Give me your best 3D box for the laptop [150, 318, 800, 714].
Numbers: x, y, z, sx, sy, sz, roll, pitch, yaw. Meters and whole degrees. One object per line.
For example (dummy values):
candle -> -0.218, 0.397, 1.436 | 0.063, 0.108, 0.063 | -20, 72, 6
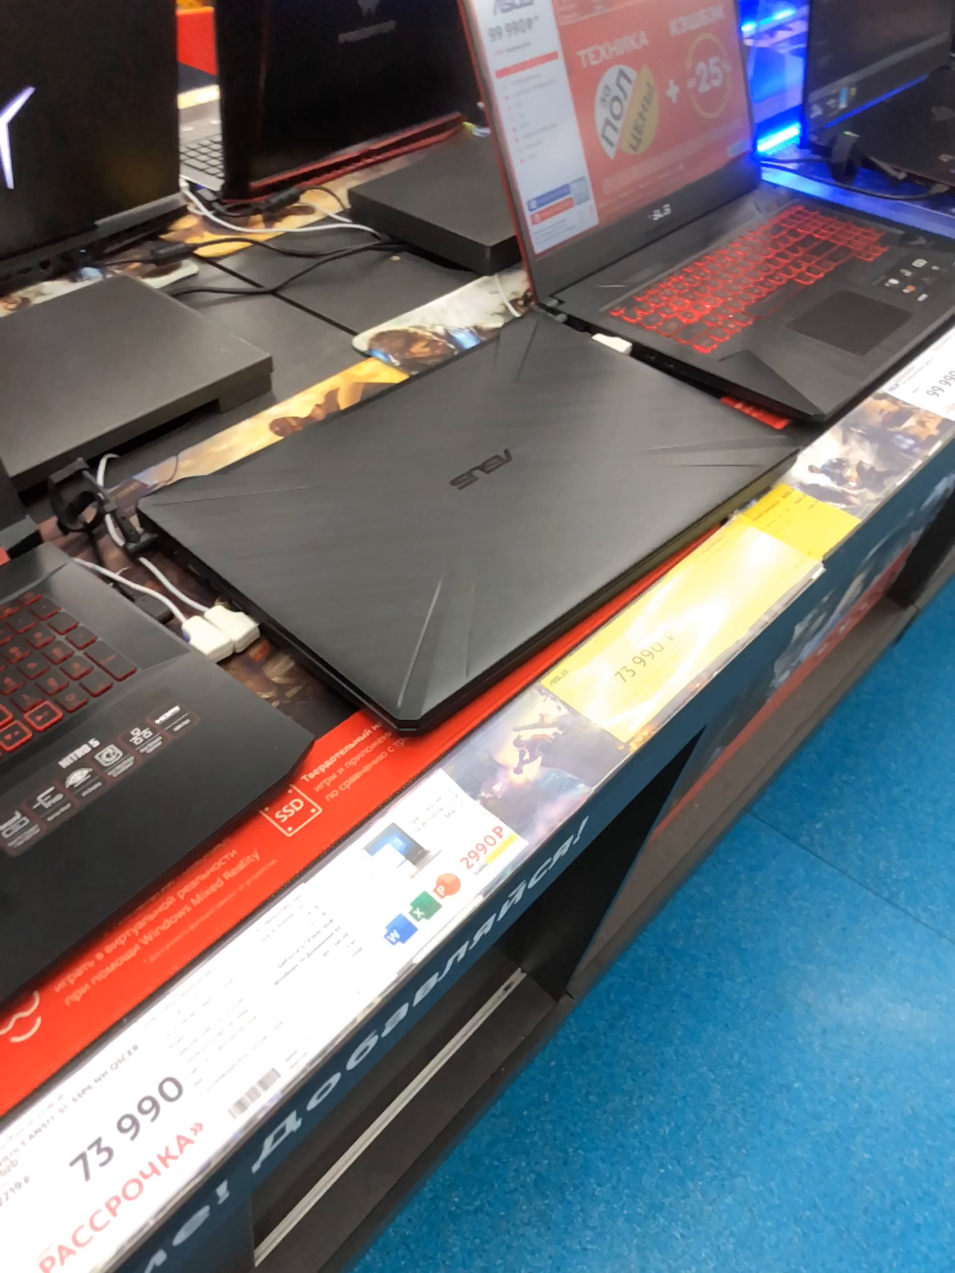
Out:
laptop -> 0.009, -0.116, 0.741 | 0.261, 0.001, 0.386 | 35, 54, 30
